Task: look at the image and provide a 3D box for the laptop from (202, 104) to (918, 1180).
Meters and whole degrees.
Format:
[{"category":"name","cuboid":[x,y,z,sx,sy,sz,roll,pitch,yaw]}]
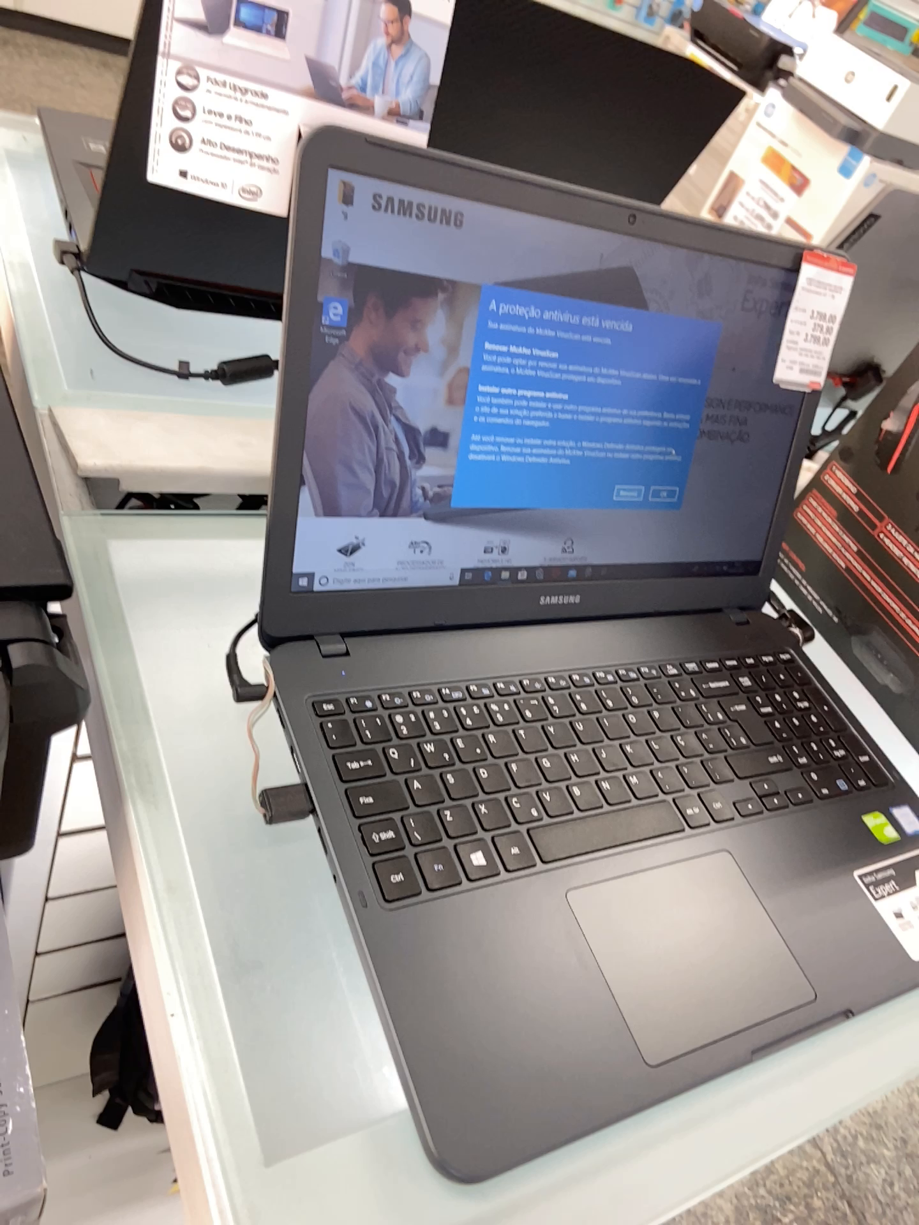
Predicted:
[{"category":"laptop","cuboid":[0.119,-0.018,0.469,0.372,0.207,0.372,-3,49,-33]}]
